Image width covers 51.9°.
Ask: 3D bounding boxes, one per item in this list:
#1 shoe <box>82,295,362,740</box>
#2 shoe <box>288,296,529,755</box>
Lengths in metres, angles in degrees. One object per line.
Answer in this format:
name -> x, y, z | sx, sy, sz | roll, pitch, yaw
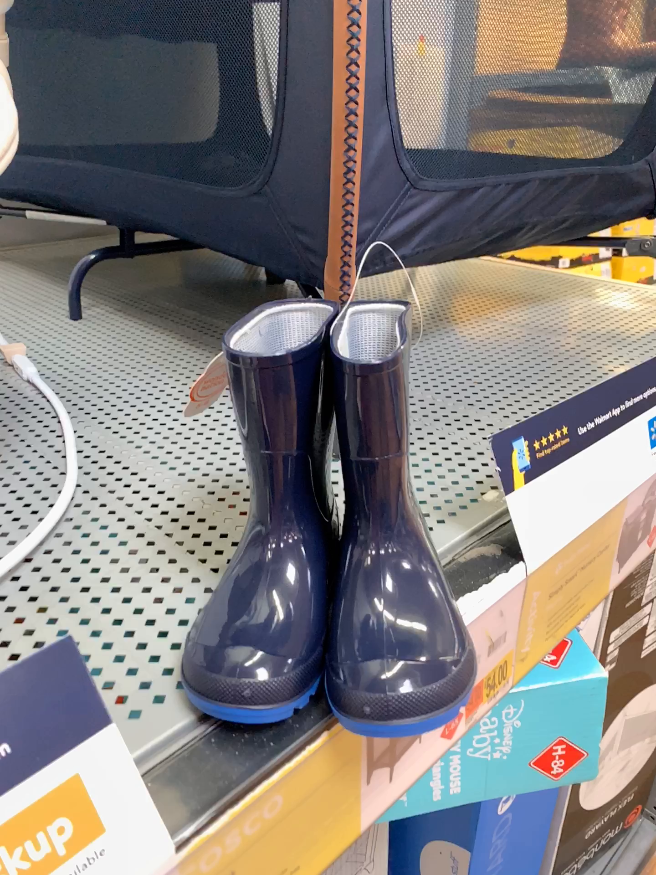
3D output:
shoe -> -0.031, 0.022, 0.332 | 0.074, 0.143, 0.174 | 1, 25, 9
shoe -> 0.034, 0.025, 0.322 | 0.076, 0.143, 0.174 | -1, 25, 5
